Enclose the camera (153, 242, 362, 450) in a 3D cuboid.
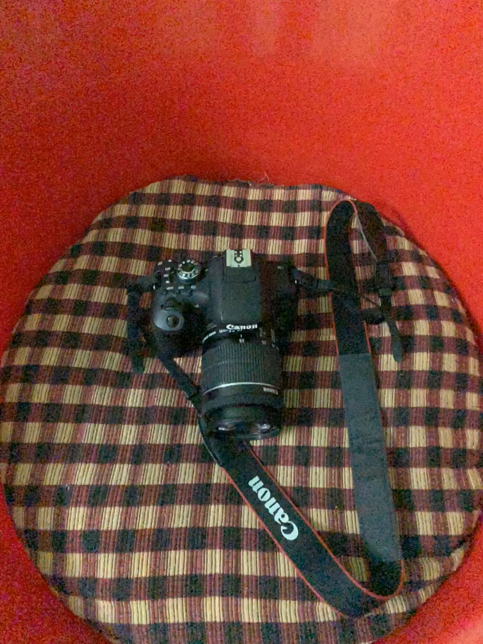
[{"bbox_3d":[0.011,0.027,0.417,0.140,0.130,0.138,0,67,0],"label":"camera"}]
